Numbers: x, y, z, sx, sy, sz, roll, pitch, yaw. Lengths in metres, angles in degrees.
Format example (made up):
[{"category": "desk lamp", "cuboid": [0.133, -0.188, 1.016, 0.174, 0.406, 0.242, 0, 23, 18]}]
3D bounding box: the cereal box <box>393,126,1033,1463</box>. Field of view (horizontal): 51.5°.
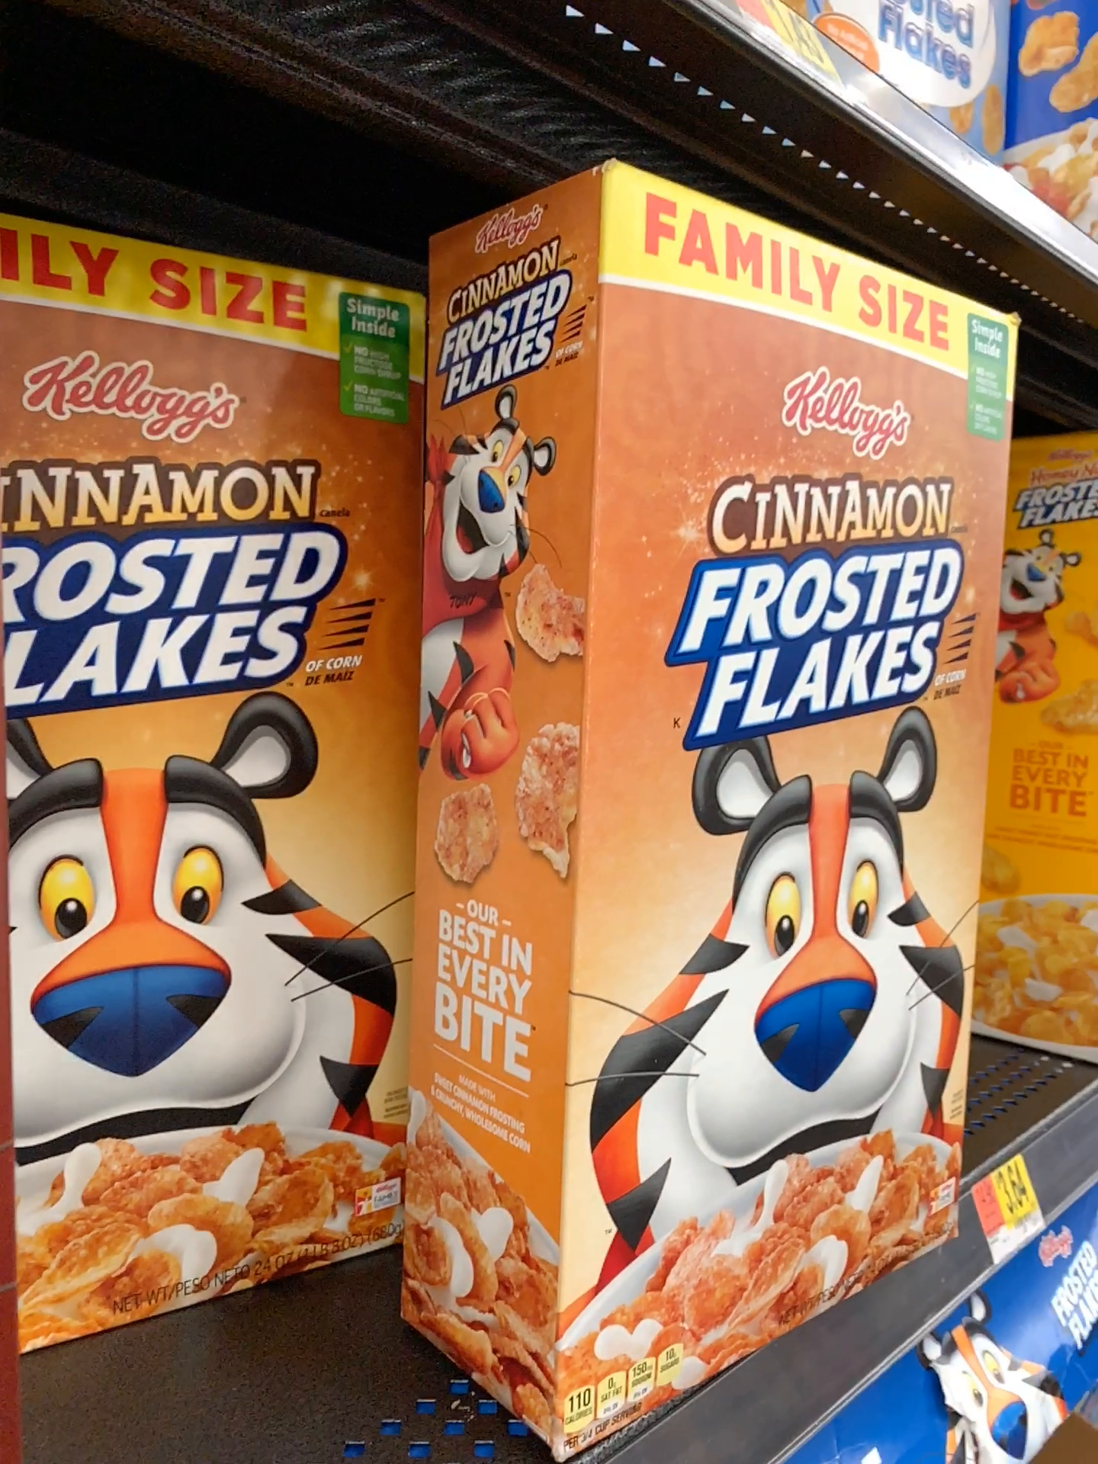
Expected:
[{"category": "cereal box", "cuboid": [0.062, 0.021, 0.374, 0.210, 0.340, 0.070, -1, 5, -40]}]
